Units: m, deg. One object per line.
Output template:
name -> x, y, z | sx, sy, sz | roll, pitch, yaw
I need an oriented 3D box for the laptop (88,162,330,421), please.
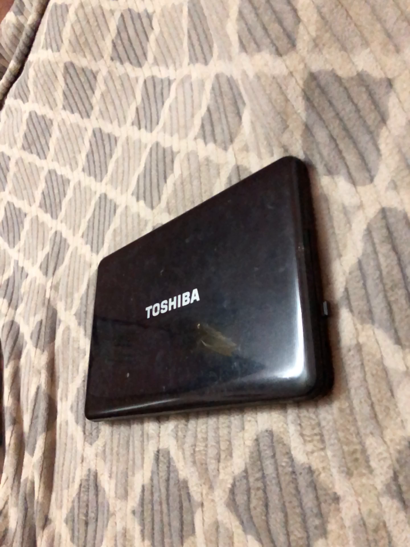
laptop -> -0.024, 0.046, 0.565 | 0.376, 0.023, 0.248 | -22, 55, 43
